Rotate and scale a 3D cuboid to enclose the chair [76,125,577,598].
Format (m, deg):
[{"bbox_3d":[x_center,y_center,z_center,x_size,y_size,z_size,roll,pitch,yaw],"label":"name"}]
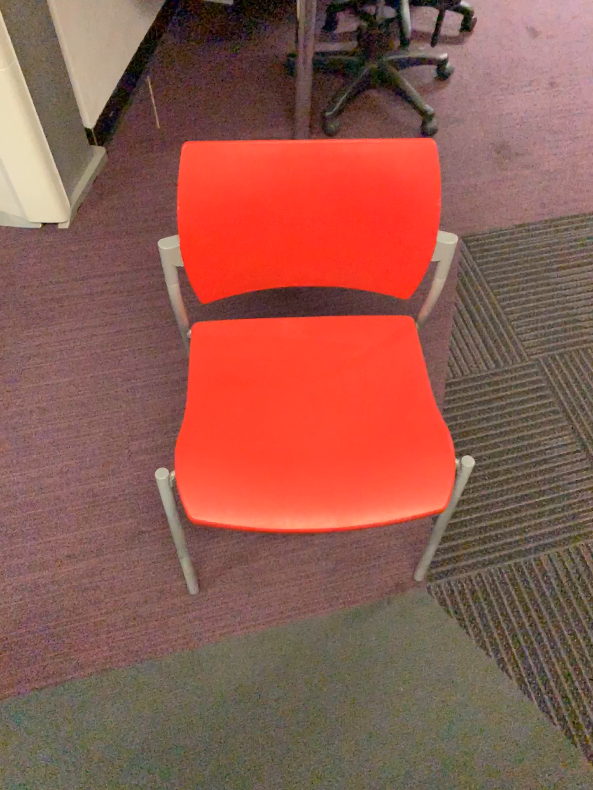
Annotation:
[{"bbox_3d":[0.039,-0.003,1.094,0.540,0.685,0.564,0,58,1],"label":"chair"}]
